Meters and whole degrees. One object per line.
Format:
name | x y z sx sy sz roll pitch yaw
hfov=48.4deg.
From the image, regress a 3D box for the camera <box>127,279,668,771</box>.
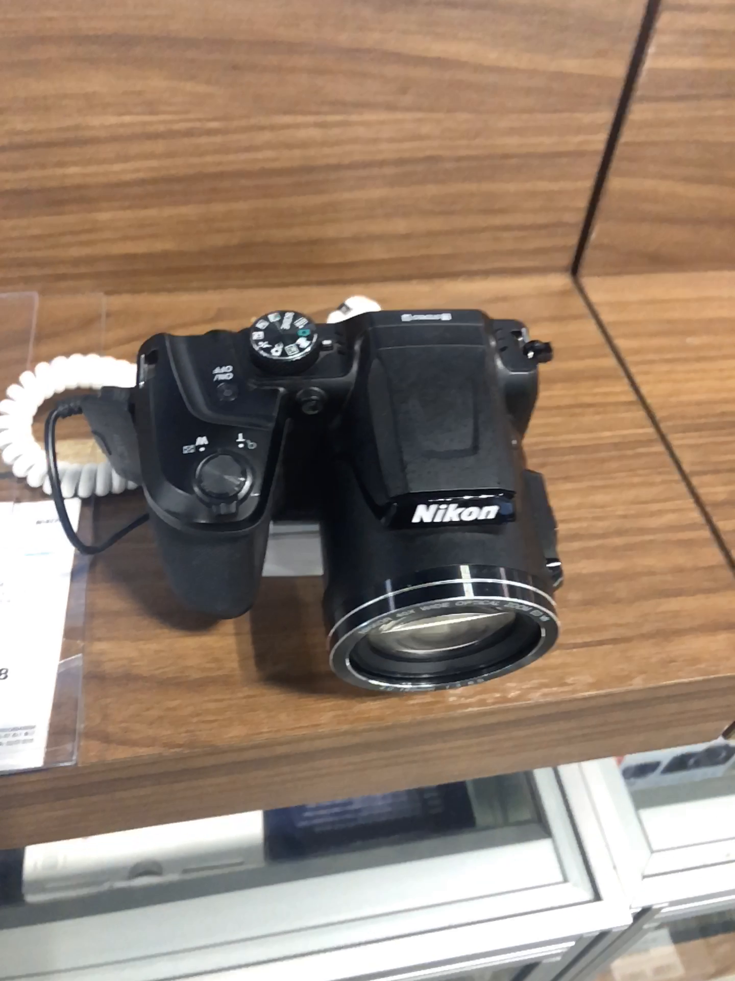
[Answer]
camera | -0.002 0.006 0.223 0.110 0.080 0.096 -4 49 -9
